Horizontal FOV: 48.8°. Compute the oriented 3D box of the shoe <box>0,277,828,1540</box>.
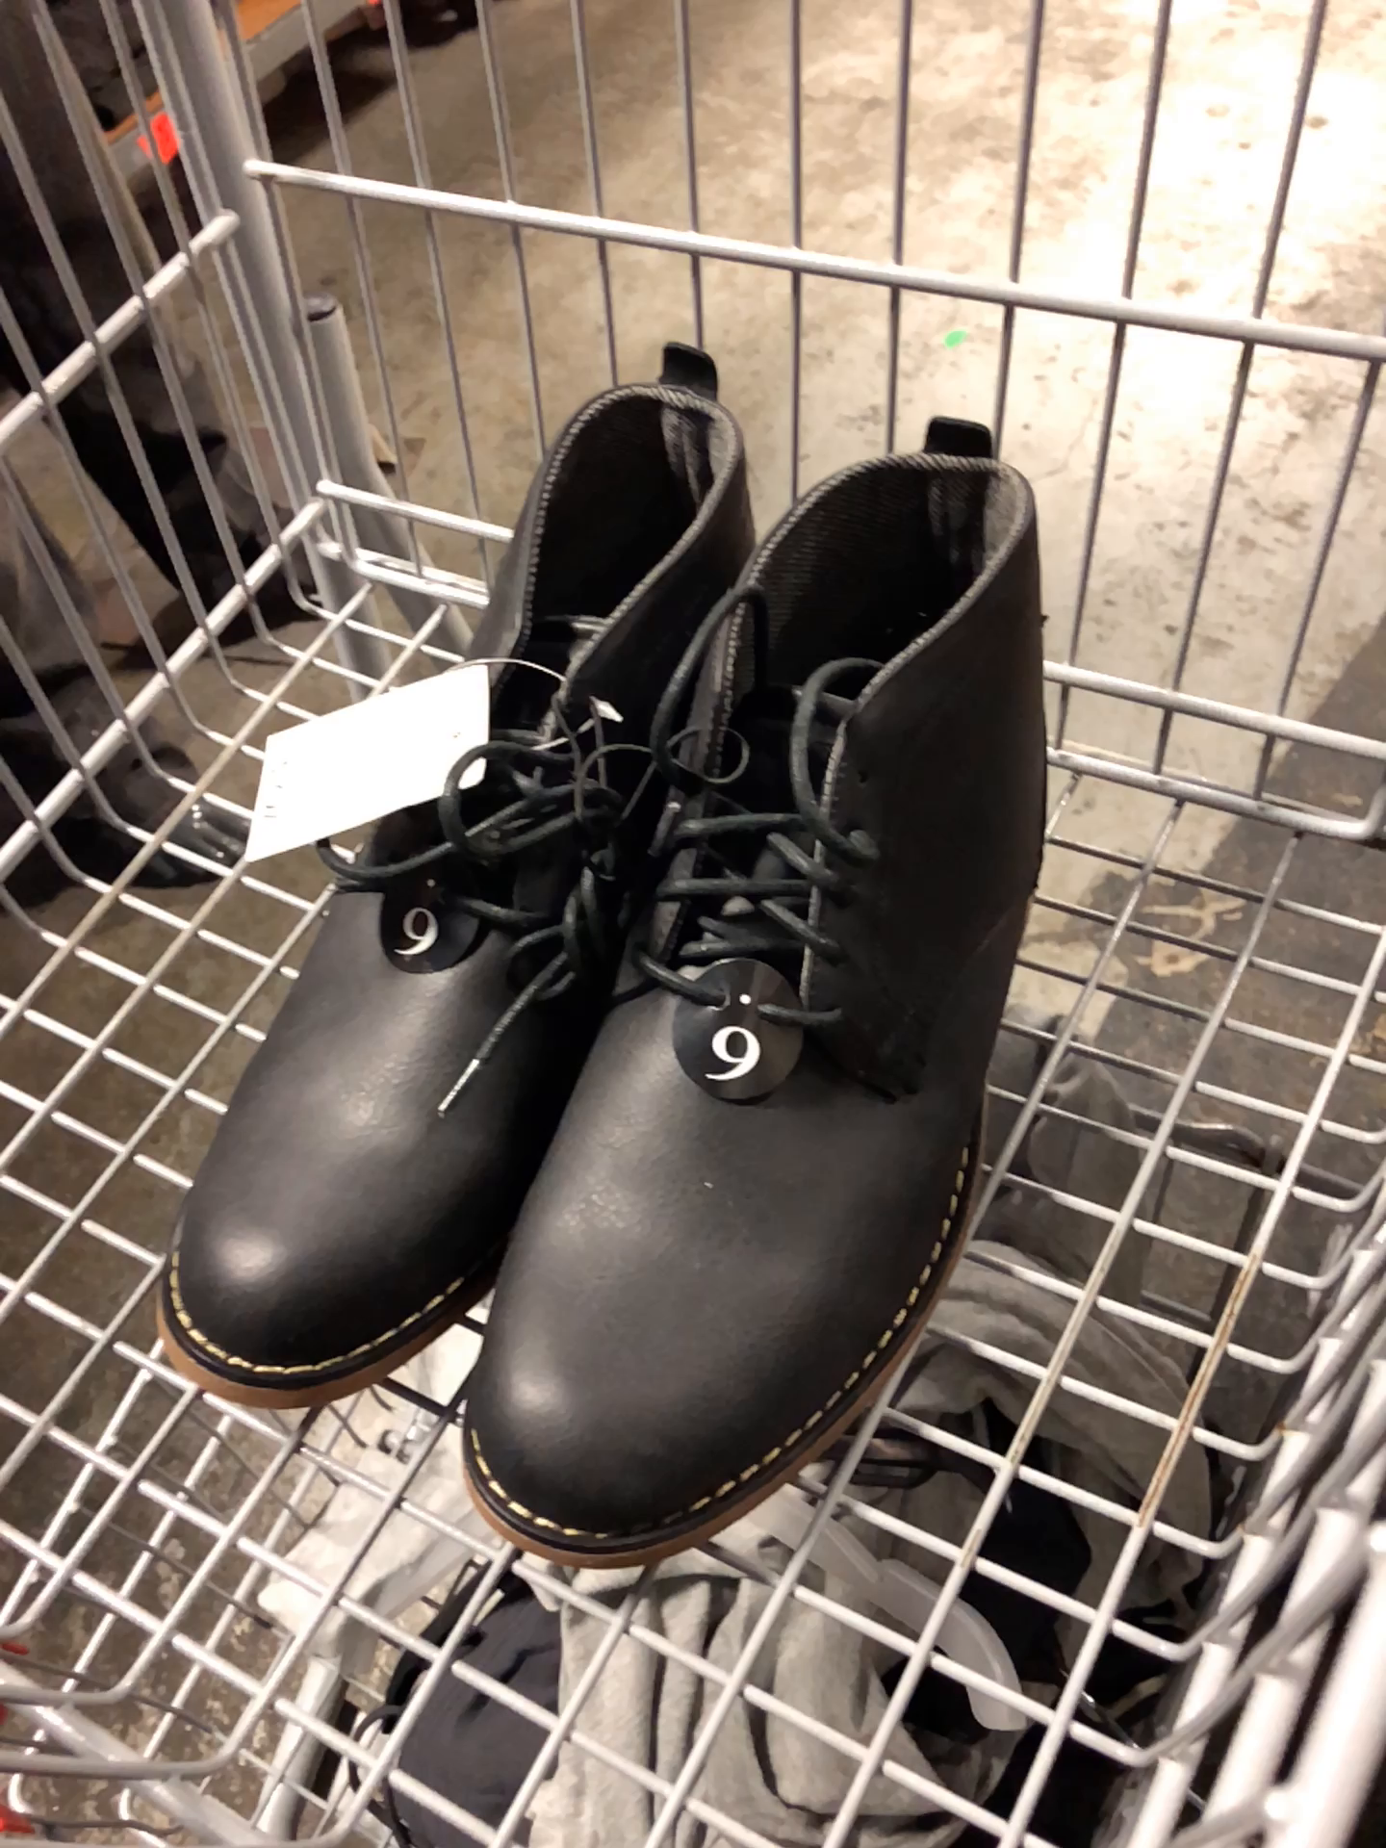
[{"bbox_3d":[-0.070,-0.002,0.414,0.100,0.199,0.261,19,61,21],"label":"shoe"}]

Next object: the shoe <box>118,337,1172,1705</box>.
[{"bbox_3d":[0.019,0.026,0.391,0.100,0.199,0.271,19,61,21],"label":"shoe"}]
